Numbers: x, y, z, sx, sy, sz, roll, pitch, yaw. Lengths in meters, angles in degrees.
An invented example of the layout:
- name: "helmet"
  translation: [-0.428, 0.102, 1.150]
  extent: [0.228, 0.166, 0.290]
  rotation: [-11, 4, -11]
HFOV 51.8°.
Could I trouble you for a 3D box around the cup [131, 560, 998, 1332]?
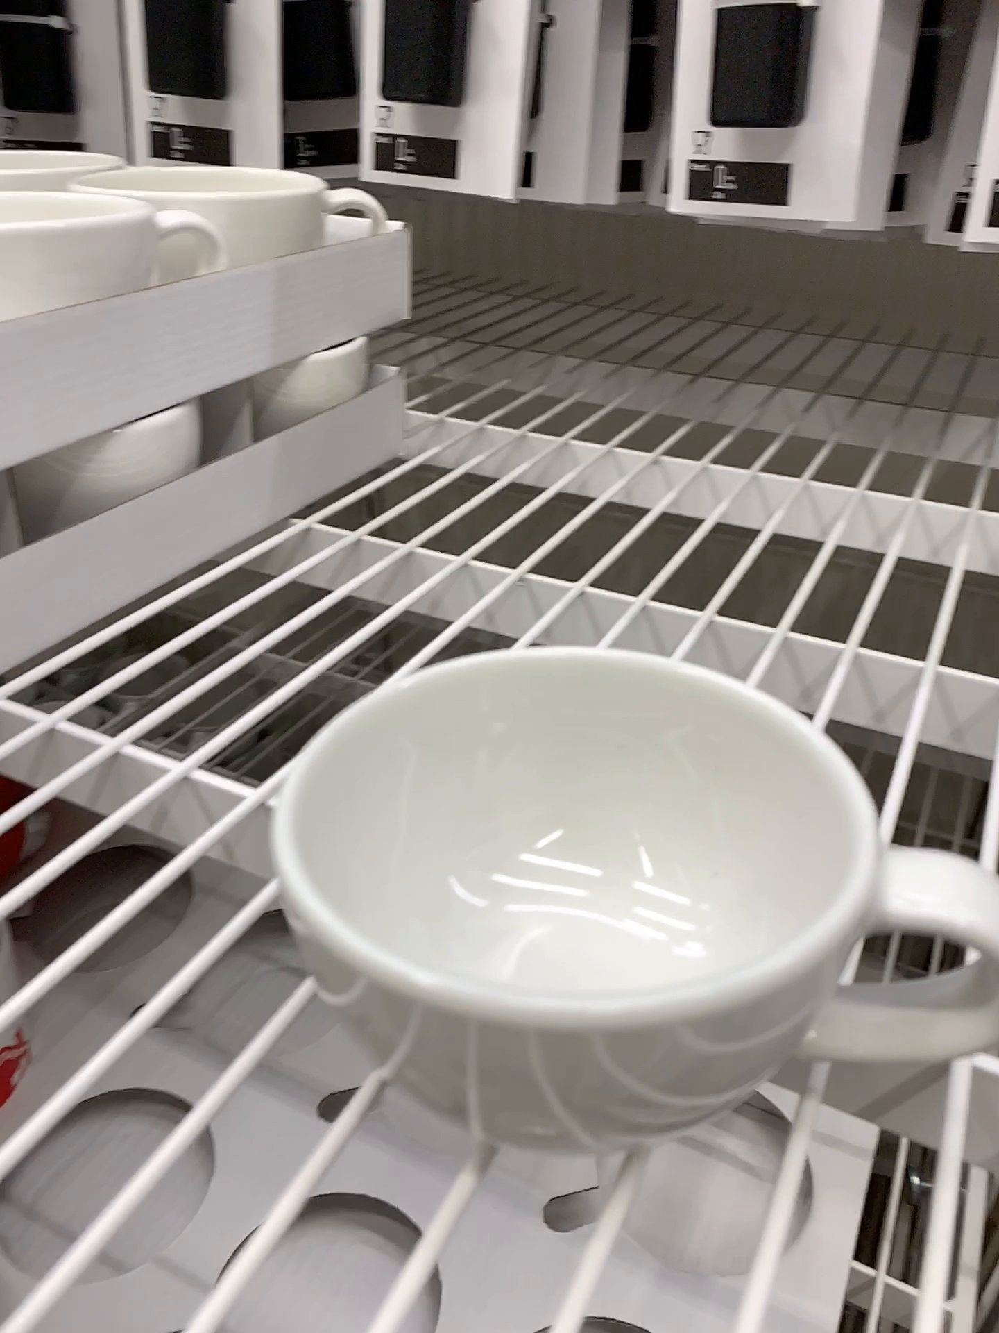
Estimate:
- name: "cup"
  translation: [0.026, 0.029, 0.157]
  extent: [0.116, 0.036, 0.097]
  rotation: [12, 32, 16]
